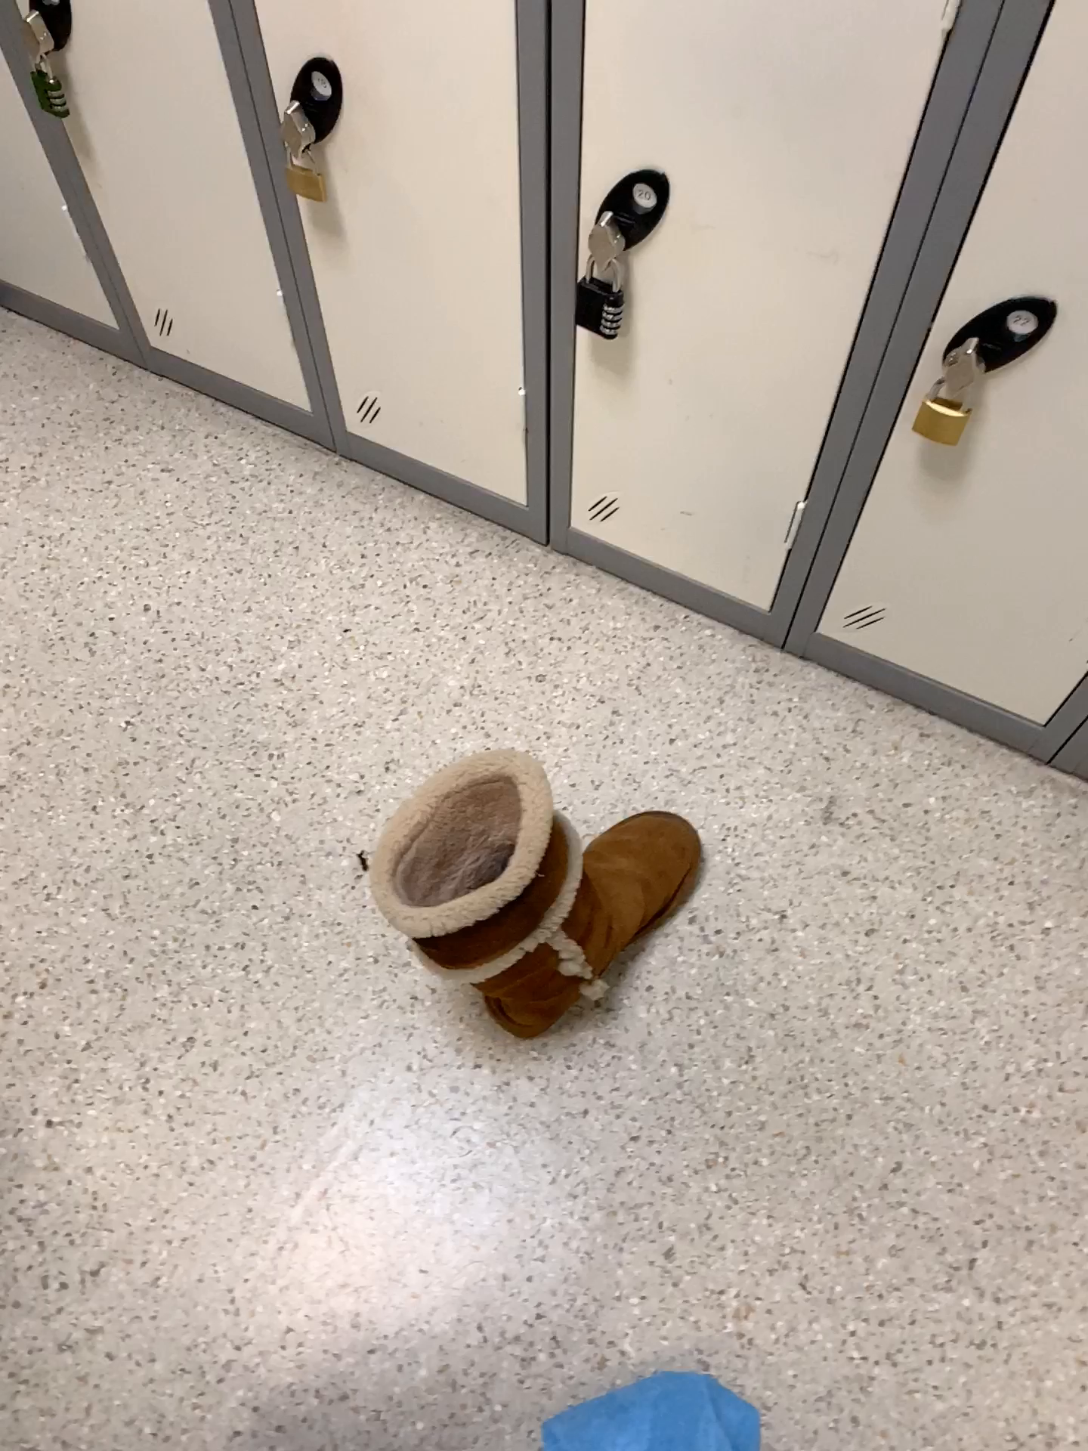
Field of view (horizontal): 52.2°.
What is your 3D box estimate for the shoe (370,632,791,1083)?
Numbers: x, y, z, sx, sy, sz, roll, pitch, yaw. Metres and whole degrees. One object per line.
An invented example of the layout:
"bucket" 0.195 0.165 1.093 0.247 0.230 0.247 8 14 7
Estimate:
"shoe" 0.033 0.121 0.974 0.306 0.244 0.158 -39 67 -19
